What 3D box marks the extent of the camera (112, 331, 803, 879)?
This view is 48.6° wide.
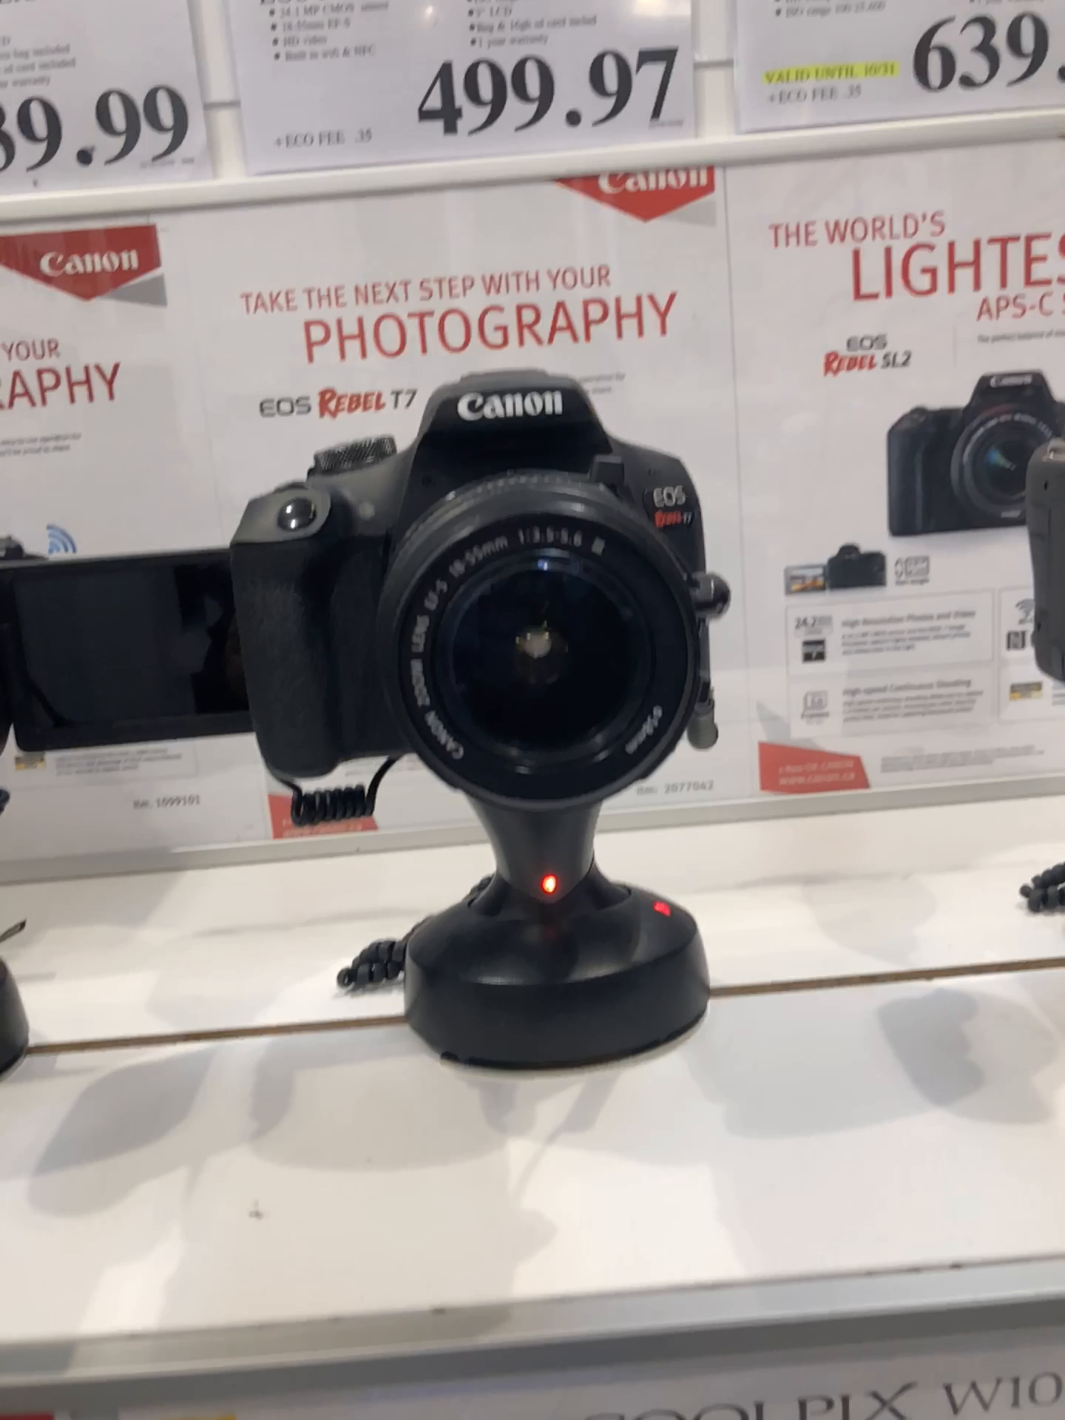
[{"bbox_3d":[-0.014,-0.033,0.295,0.130,0.100,0.120,-5,13,-2],"label":"camera"}]
